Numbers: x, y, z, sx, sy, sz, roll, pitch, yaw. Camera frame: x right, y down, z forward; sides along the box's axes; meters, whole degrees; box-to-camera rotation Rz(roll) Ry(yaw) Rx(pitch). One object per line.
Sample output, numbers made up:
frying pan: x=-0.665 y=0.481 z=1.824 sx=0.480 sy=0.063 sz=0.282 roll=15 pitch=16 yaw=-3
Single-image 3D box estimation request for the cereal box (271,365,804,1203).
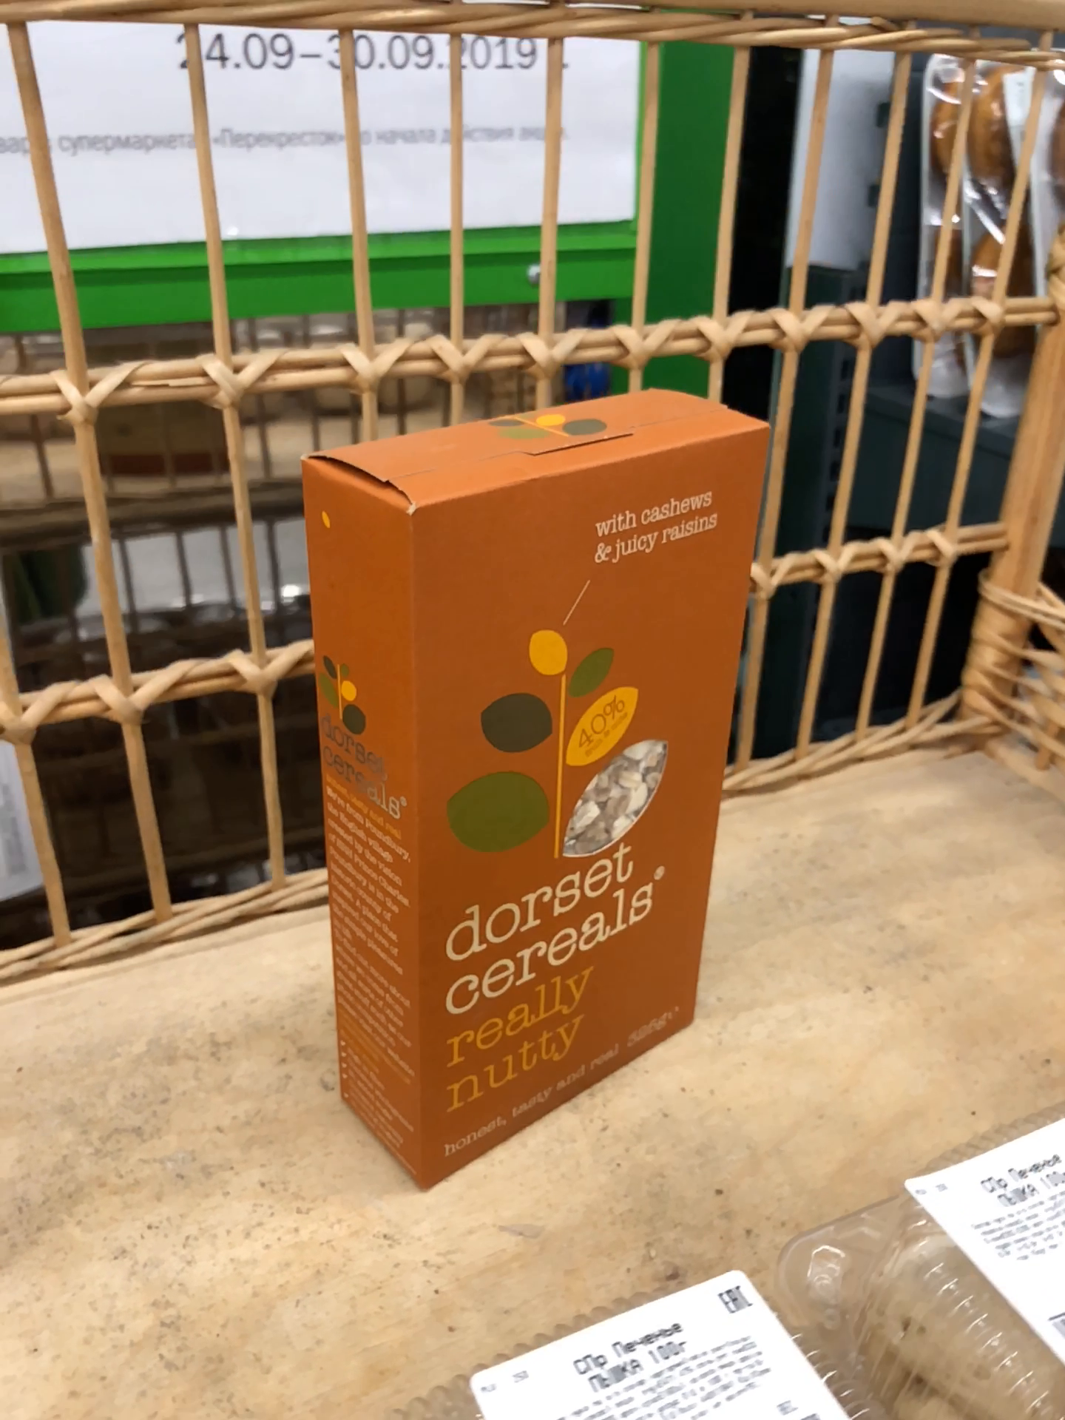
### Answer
cereal box: x=0.003 y=0.020 z=0.342 sx=0.130 sy=0.209 sz=0.050 roll=-20 pitch=35 yaw=-35
